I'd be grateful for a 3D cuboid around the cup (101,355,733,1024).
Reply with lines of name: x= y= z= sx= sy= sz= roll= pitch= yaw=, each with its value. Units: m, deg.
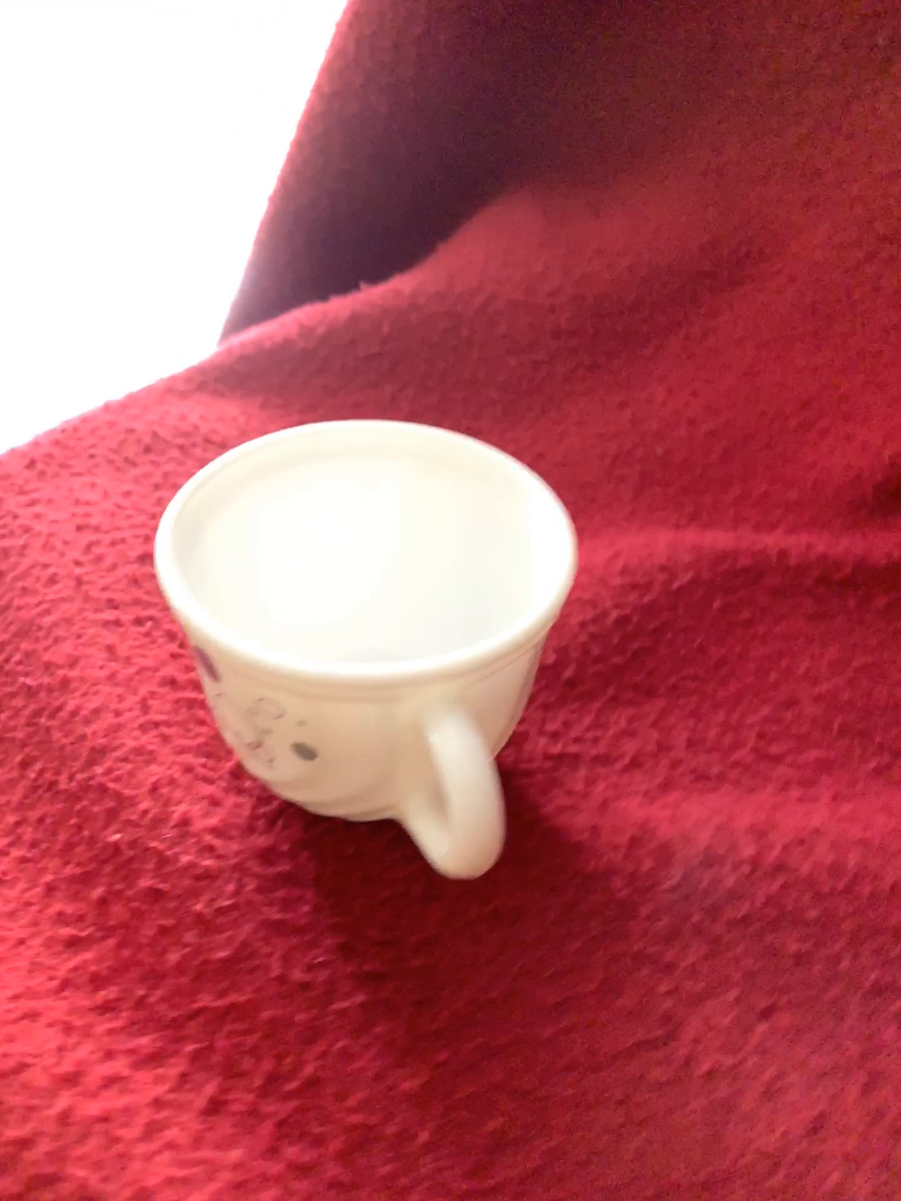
cup: x=-0.014 y=0.007 z=0.178 sx=0.080 sy=0.050 sz=0.101 roll=-13 pitch=45 yaw=-14
